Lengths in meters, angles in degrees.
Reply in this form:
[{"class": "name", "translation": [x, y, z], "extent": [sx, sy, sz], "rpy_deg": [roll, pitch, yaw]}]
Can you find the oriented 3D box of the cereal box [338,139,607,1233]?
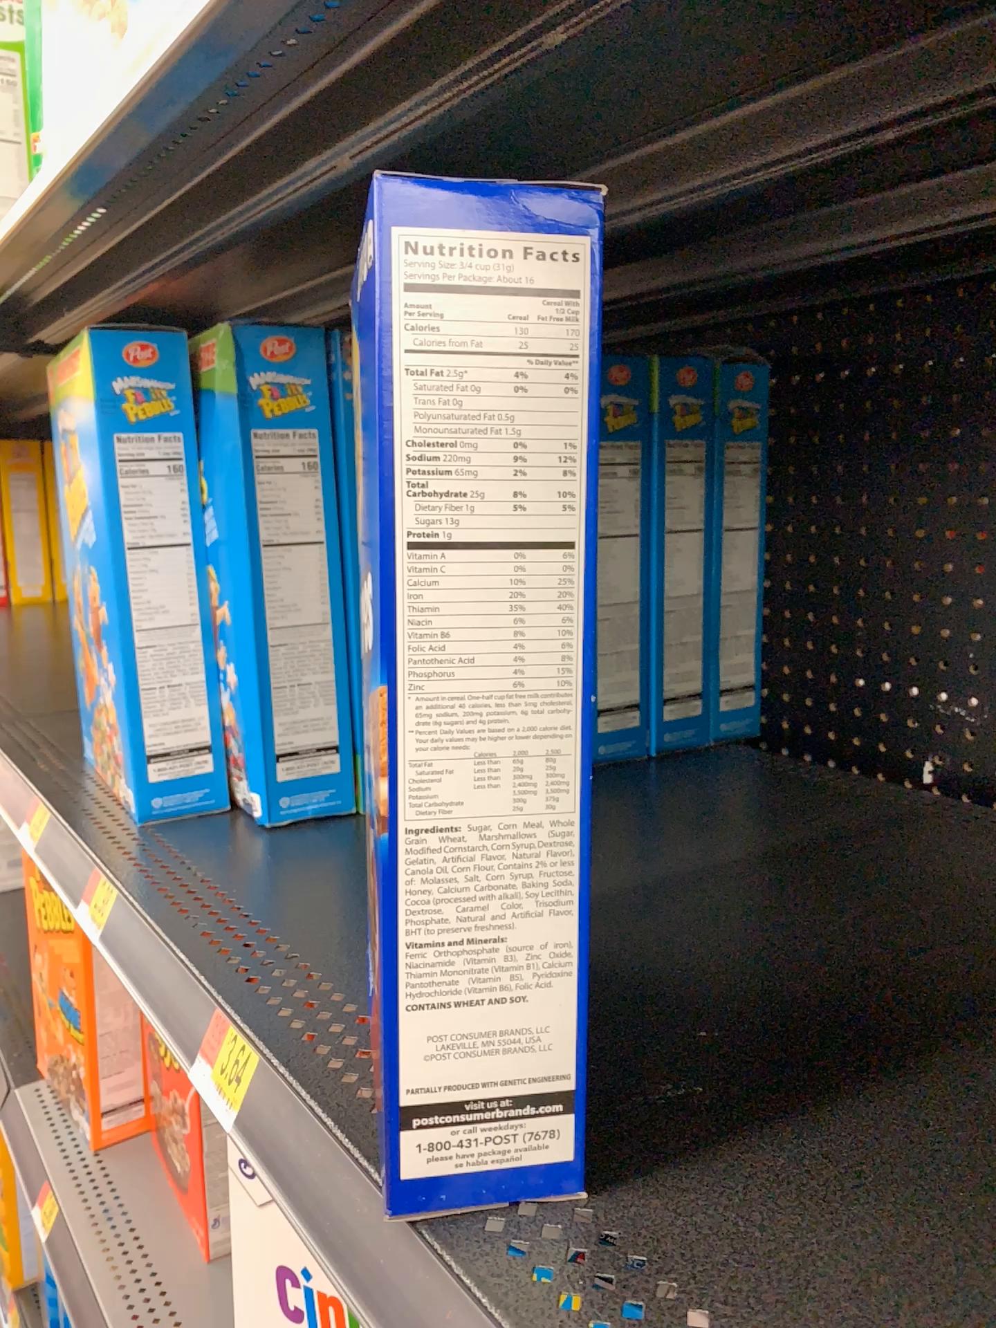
[{"class": "cereal box", "translation": [-0.023, 0.002, 0.398], "extent": [0.070, 0.319, 0.200], "rpy_deg": [-1, 10, -10]}]
